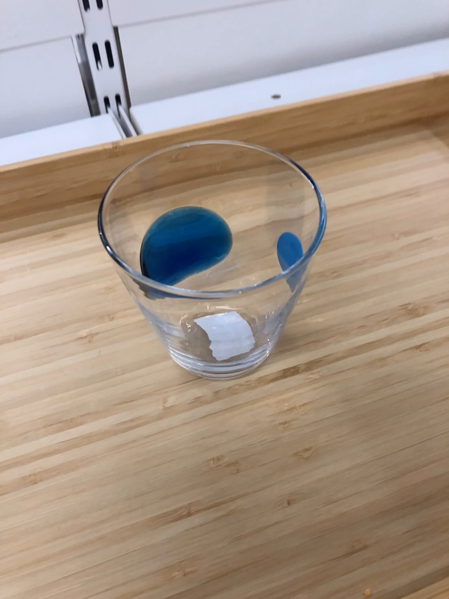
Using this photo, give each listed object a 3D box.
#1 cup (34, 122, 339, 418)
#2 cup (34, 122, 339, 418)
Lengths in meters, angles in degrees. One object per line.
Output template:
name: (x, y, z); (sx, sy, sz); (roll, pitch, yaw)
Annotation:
cup: (-0.007, -0.017, 0.226); (0.100, 0.070, 0.100); (-1, 50, 1)
cup: (-0.007, -0.017, 0.226); (0.100, 0.070, 0.100); (-1, 50, 1)
